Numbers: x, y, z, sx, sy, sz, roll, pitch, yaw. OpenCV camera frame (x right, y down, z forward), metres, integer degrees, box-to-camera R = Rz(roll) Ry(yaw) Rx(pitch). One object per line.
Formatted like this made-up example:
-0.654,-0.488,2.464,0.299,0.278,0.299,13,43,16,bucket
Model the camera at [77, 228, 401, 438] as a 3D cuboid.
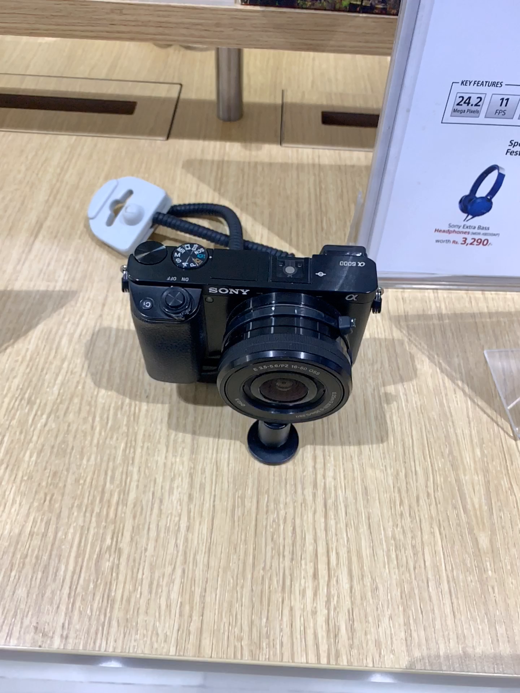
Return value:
-0.008,-0.005,0.265,0.130,0.070,0.070,2,53,0,camera
